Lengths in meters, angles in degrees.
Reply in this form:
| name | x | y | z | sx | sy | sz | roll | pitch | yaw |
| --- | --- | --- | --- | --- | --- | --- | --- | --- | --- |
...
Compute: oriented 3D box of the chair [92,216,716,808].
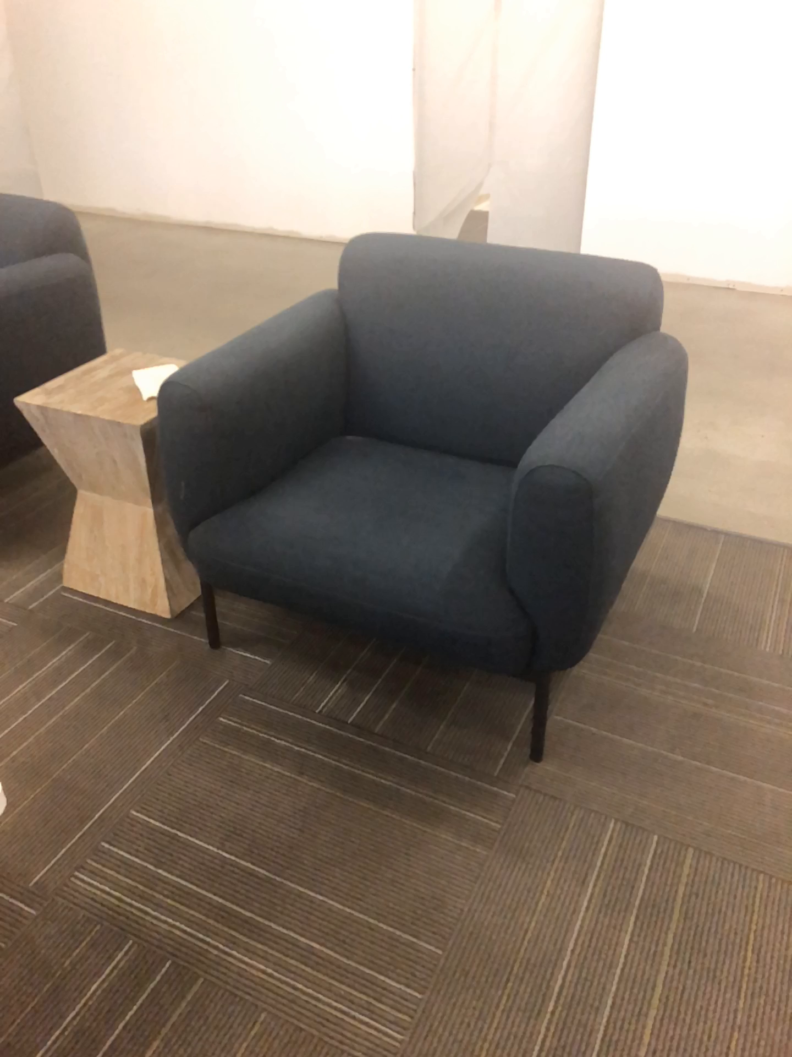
| name | x | y | z | sx | sy | sz | roll | pitch | yaw |
| --- | --- | --- | --- | --- | --- | --- | --- | --- | --- |
| chair | 0.074 | -0.137 | 1.853 | 0.920 | 0.783 | 0.847 | 13 | 33 | 22 |
